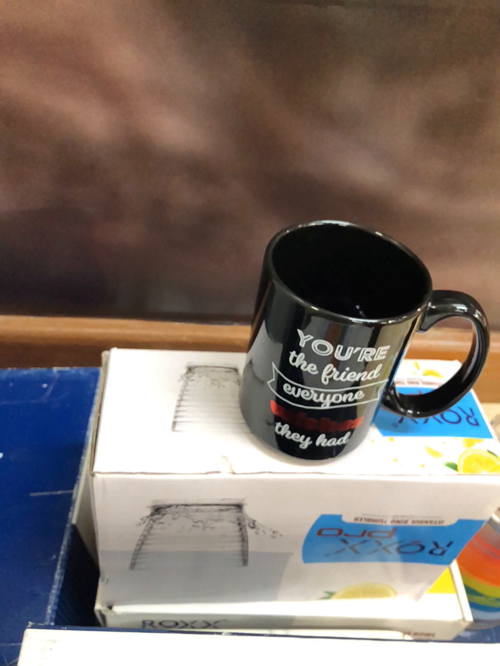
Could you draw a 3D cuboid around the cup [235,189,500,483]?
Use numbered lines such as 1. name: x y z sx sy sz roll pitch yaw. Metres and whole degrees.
1. cup: 0.061 0.003 0.282 0.130 0.109 0.091 3 40 -3
